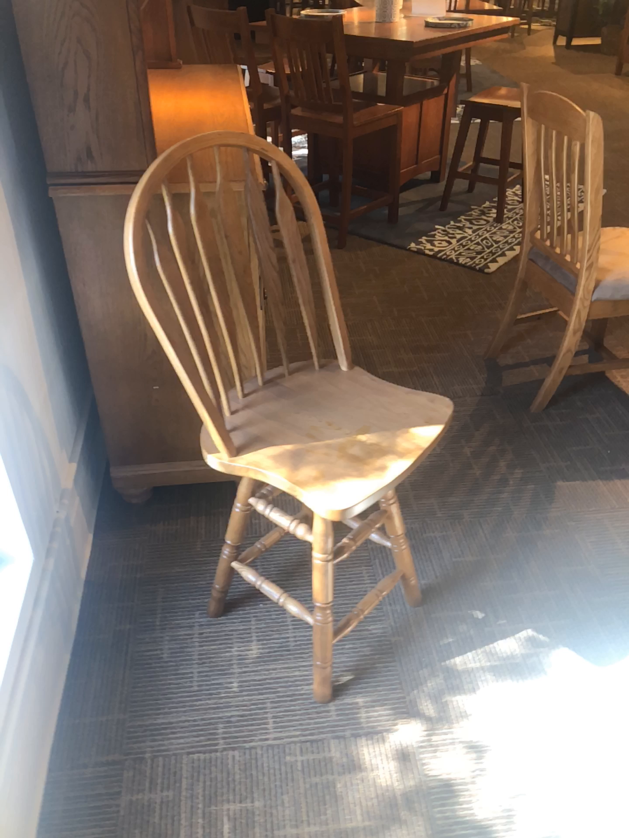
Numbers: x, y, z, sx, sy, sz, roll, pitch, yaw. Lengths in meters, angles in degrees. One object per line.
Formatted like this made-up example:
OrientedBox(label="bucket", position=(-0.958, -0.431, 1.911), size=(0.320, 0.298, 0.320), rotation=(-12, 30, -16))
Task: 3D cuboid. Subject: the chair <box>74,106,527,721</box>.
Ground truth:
OrientedBox(label="chair", position=(-0.015, -0.004, 1.399), size=(0.541, 1.024, 0.482), rotation=(25, 43, 31))
